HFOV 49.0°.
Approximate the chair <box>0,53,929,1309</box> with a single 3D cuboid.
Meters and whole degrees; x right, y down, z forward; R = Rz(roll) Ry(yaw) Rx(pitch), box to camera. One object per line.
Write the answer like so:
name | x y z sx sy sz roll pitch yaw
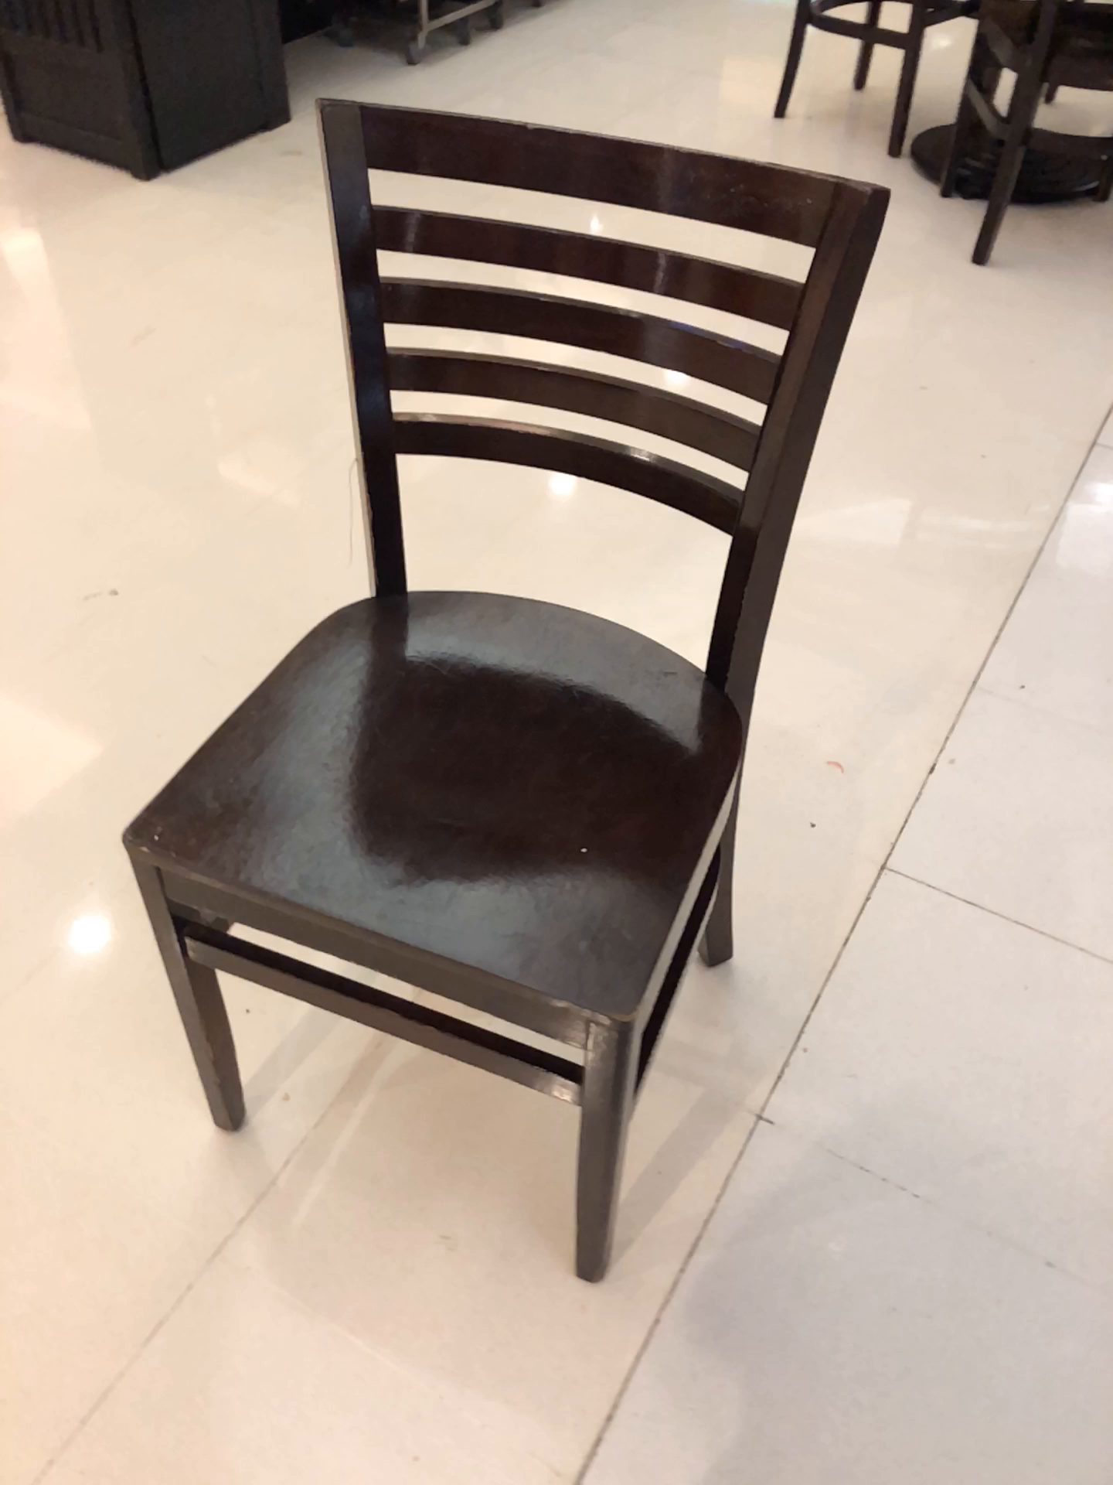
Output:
chair | -0.056 -0.028 1.058 0.460 0.844 0.543 17 46 16
